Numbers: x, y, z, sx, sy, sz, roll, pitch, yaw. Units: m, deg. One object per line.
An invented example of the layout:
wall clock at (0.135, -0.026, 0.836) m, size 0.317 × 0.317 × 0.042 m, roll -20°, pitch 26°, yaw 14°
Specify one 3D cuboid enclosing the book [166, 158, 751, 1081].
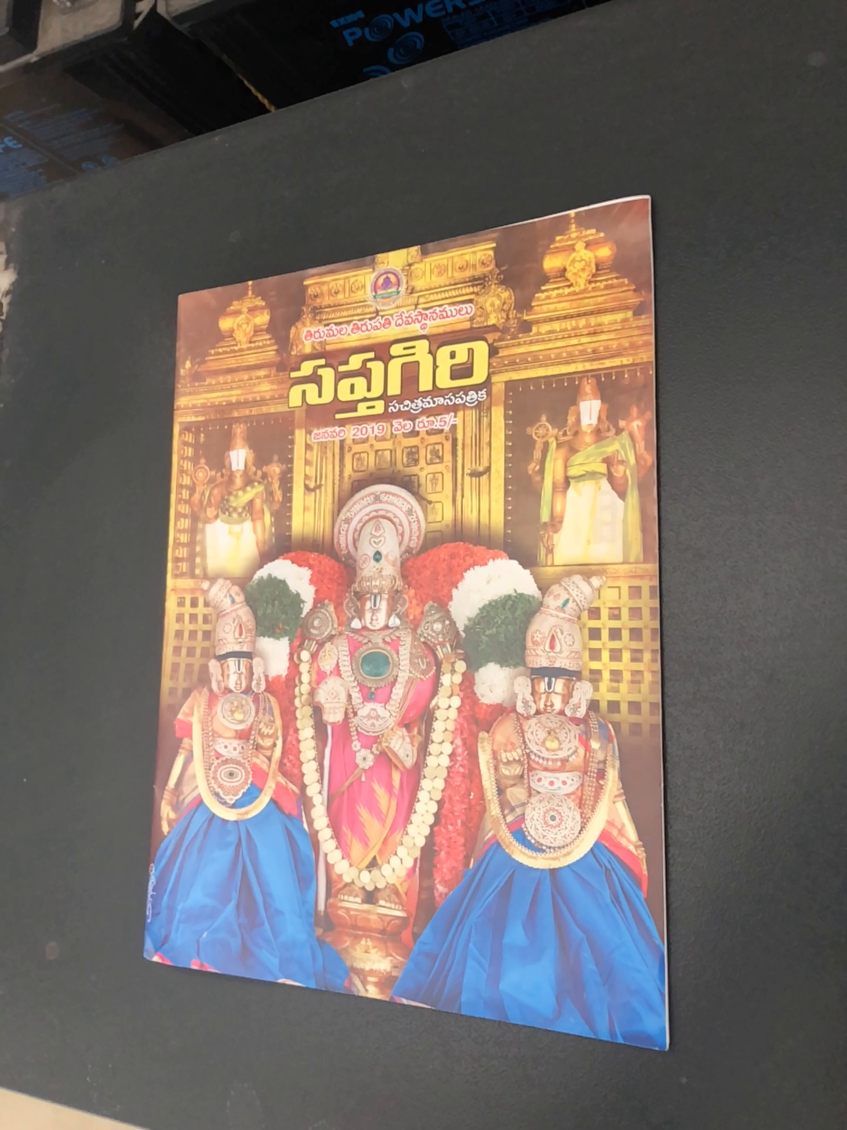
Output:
book at (0.004, 0.013, 0.332) m, size 0.200 × 0.030 × 0.270 m, roll -3°, pitch 81°, yaw 26°
